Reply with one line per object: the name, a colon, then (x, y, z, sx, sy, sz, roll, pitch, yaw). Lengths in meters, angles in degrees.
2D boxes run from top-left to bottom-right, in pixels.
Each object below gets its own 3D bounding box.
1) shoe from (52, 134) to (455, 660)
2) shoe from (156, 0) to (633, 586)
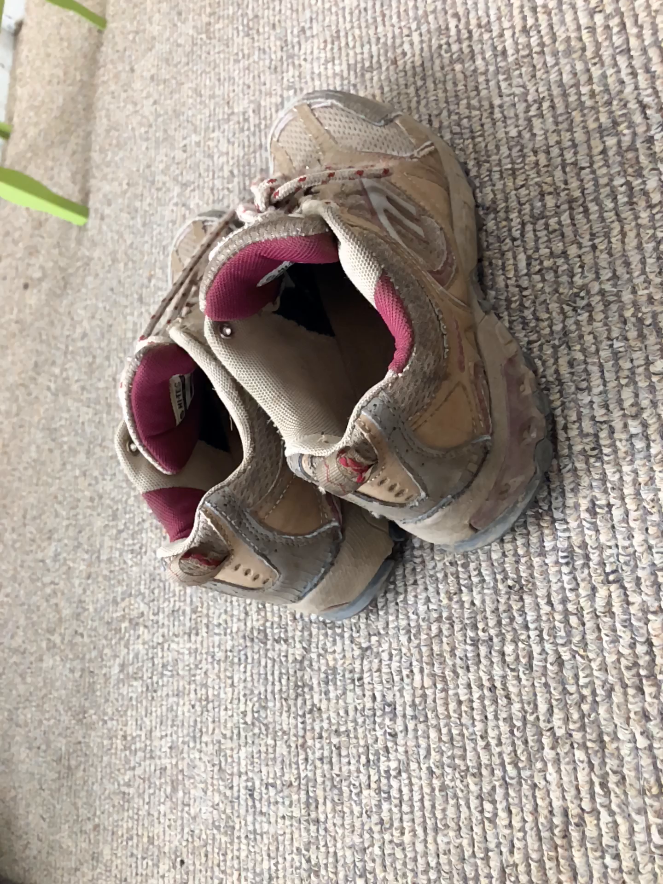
shoe: (-0.061, -0.029, 0.416, 0.110, 0.118, 0.271, -44, 51, 28)
shoe: (0.013, -0.083, 0.361, 0.112, 0.123, 0.272, -36, 54, 33)
